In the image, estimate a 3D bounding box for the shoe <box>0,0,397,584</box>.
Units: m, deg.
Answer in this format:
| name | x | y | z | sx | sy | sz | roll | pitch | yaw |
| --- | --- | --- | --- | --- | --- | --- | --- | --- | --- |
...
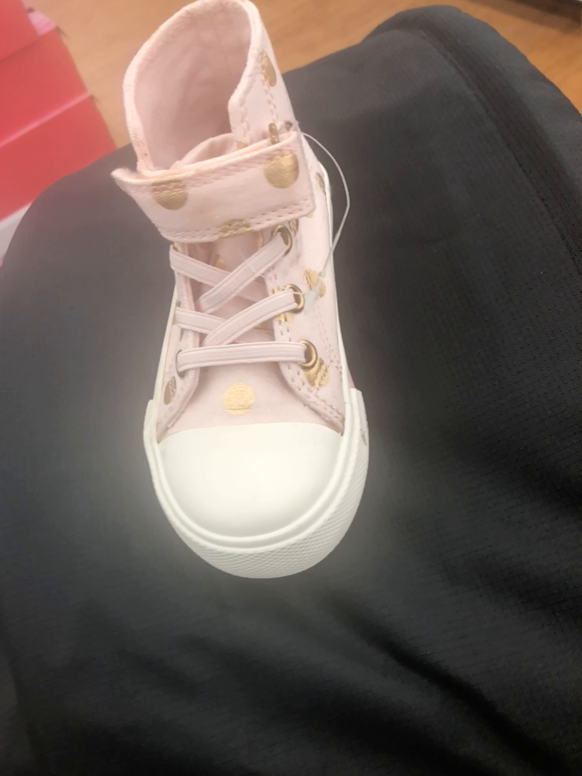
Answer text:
| name | x | y | z | sx | sy | sz | roll | pitch | yaw |
| --- | --- | --- | --- | --- | --- | --- | --- | --- | --- |
| shoe | -0.016 | -0.042 | 0.202 | 0.080 | 0.100 | 0.170 | -5 | 53 | 11 |
